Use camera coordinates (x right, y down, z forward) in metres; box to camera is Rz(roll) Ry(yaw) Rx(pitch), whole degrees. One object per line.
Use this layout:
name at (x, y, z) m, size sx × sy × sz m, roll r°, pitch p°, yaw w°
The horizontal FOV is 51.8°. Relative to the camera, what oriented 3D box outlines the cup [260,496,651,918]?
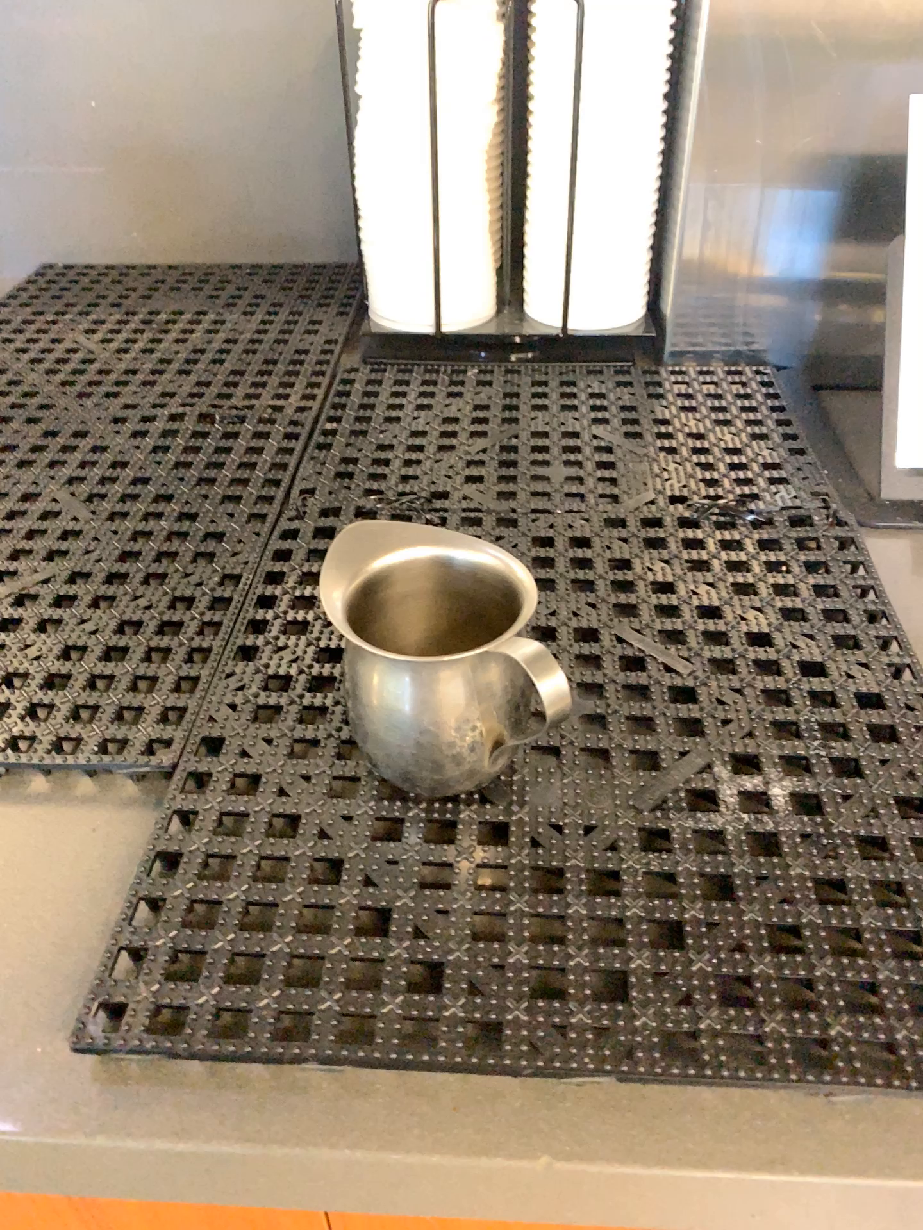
cup at (-0.005, 0.024, 0.316) m, size 0.070 × 0.070 × 0.111 m, roll -25°, pitch 43°, yaw -28°
